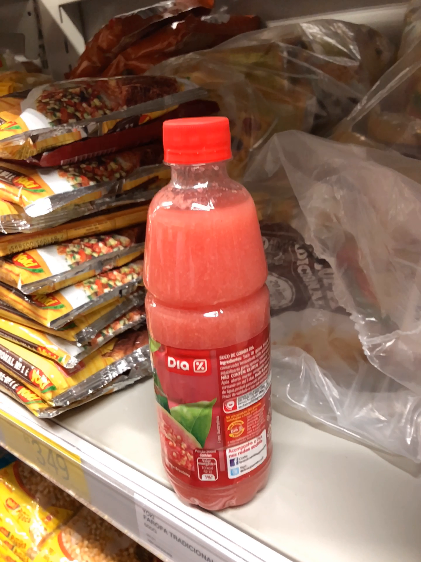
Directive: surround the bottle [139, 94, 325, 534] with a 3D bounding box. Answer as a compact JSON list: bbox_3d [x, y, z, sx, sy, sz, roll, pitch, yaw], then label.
[{"bbox_3d":[0.010,0.021,0.252,0.070,0.218,0.070,-3,24,1],"label":"bottle"}]
